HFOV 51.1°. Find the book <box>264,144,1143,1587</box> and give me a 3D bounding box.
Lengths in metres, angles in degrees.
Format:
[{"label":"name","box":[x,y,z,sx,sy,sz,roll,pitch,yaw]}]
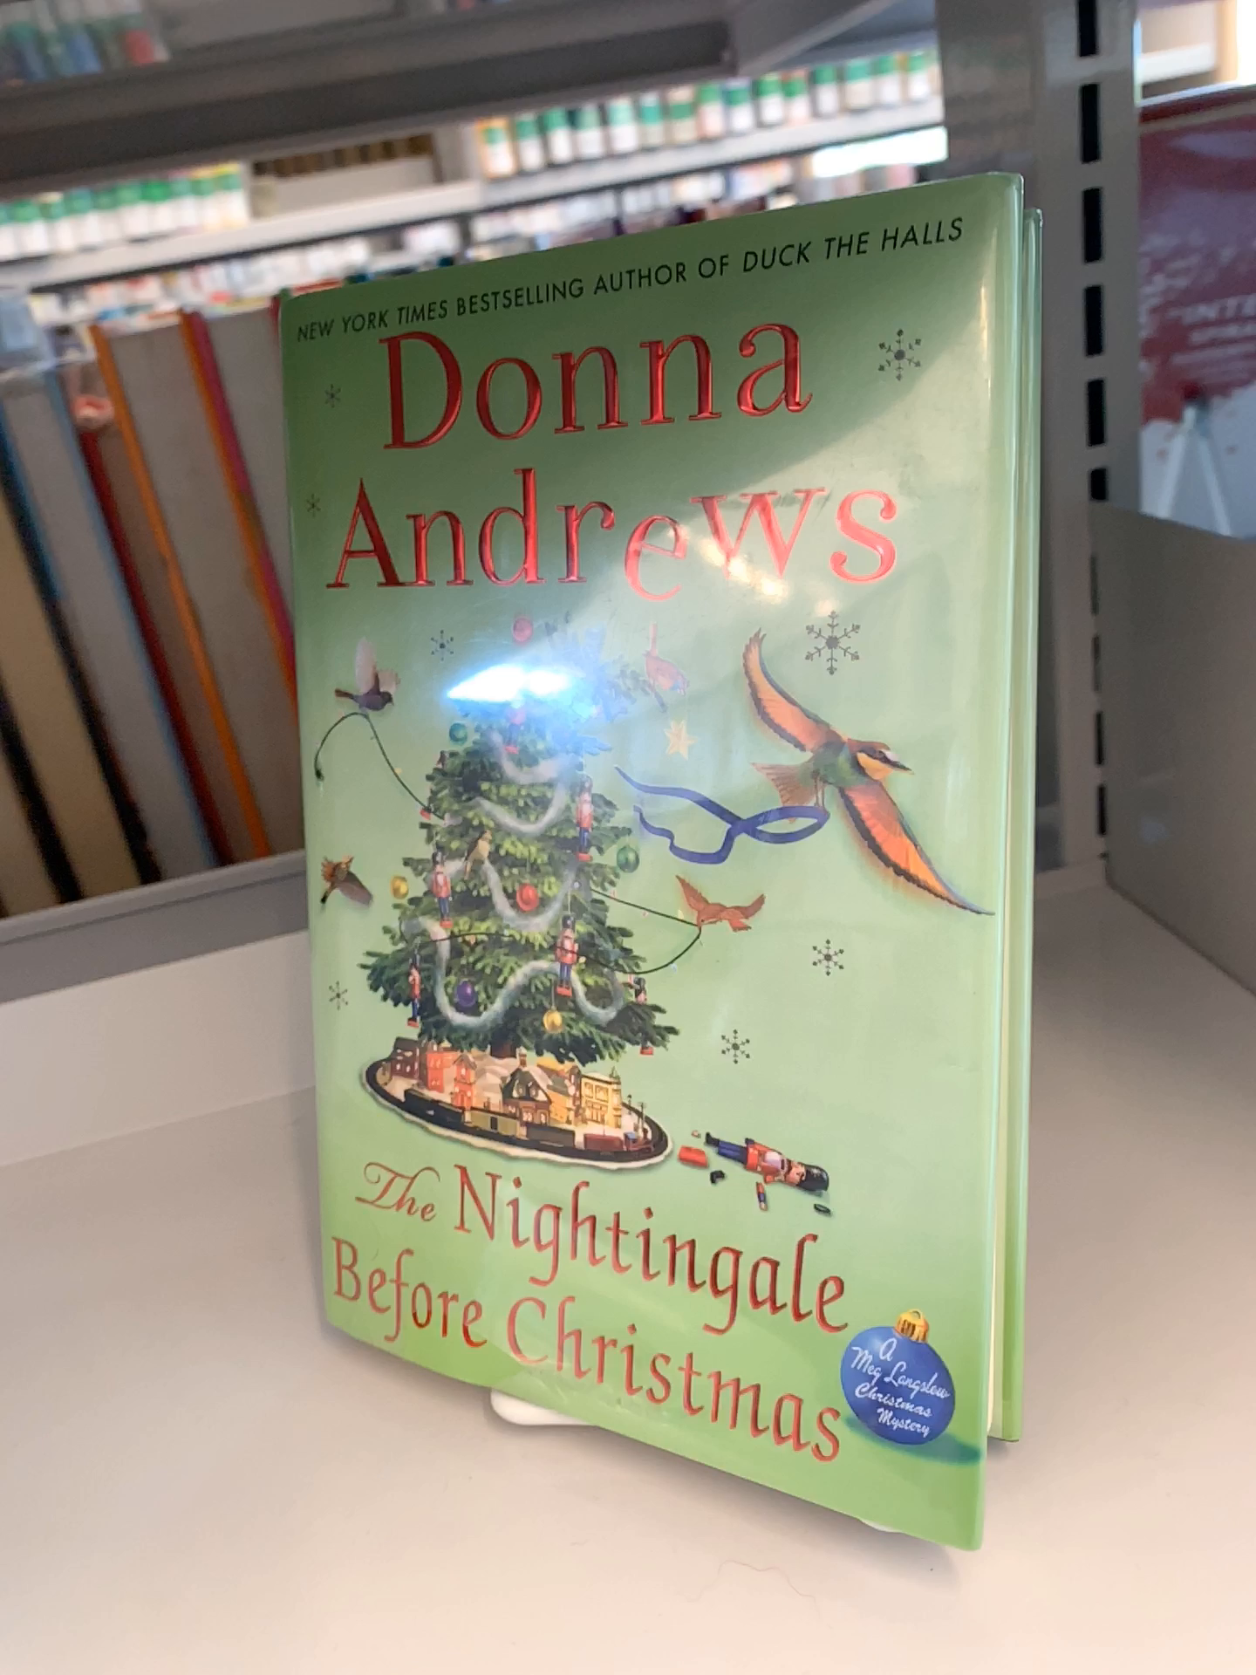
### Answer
[{"label":"book","box":[0.005,0.003,0.233,0.145,0.200,0.040,5,9,31]}]
